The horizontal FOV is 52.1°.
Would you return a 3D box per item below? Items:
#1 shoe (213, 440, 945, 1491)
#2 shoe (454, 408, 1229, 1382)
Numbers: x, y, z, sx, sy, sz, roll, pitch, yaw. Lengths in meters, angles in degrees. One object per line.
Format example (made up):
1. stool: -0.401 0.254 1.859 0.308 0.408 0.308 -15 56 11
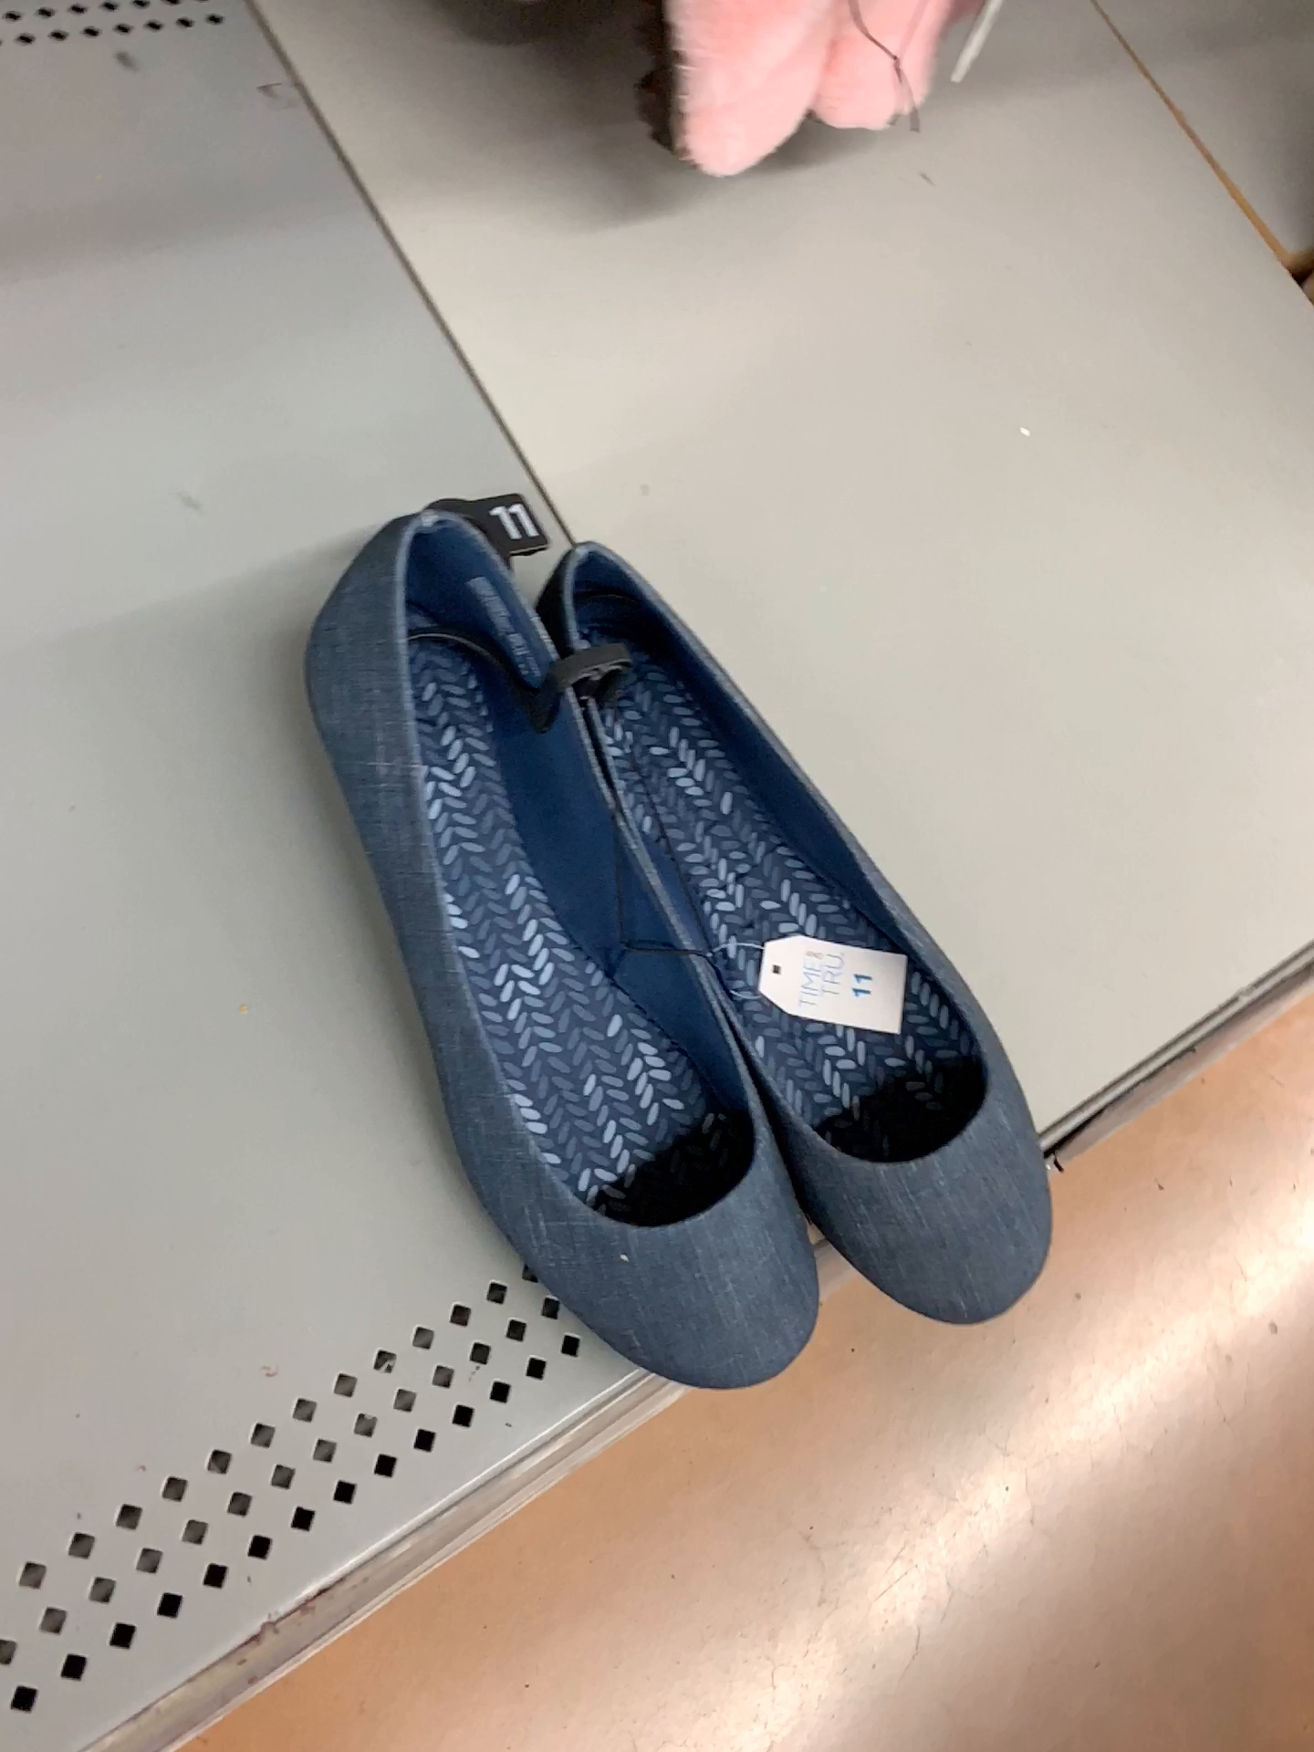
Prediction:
1. shoe: -0.035 0.022 0.404 0.090 0.090 0.280 -22 79 -22
2. shoe: 0.045 0.005 0.427 0.090 0.090 0.280 -27 81 -20
